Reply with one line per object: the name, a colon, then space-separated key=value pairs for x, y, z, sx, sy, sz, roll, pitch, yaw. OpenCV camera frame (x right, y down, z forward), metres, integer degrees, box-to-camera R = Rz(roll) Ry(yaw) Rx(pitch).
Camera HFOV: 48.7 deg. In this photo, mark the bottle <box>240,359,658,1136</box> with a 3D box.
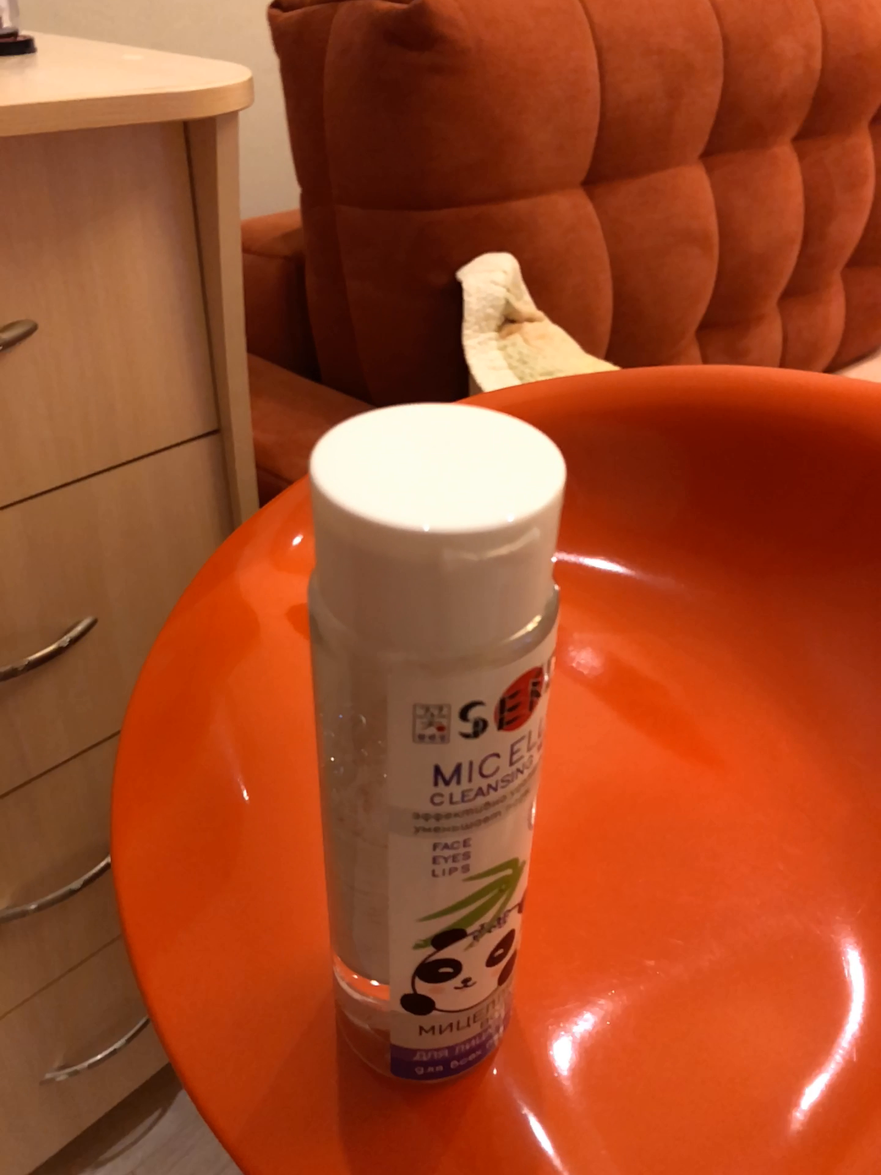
bottle: x=-0.001 y=0.043 z=0.217 sx=0.052 sy=0.166 sz=0.054 roll=2 pitch=35 yaw=-2
